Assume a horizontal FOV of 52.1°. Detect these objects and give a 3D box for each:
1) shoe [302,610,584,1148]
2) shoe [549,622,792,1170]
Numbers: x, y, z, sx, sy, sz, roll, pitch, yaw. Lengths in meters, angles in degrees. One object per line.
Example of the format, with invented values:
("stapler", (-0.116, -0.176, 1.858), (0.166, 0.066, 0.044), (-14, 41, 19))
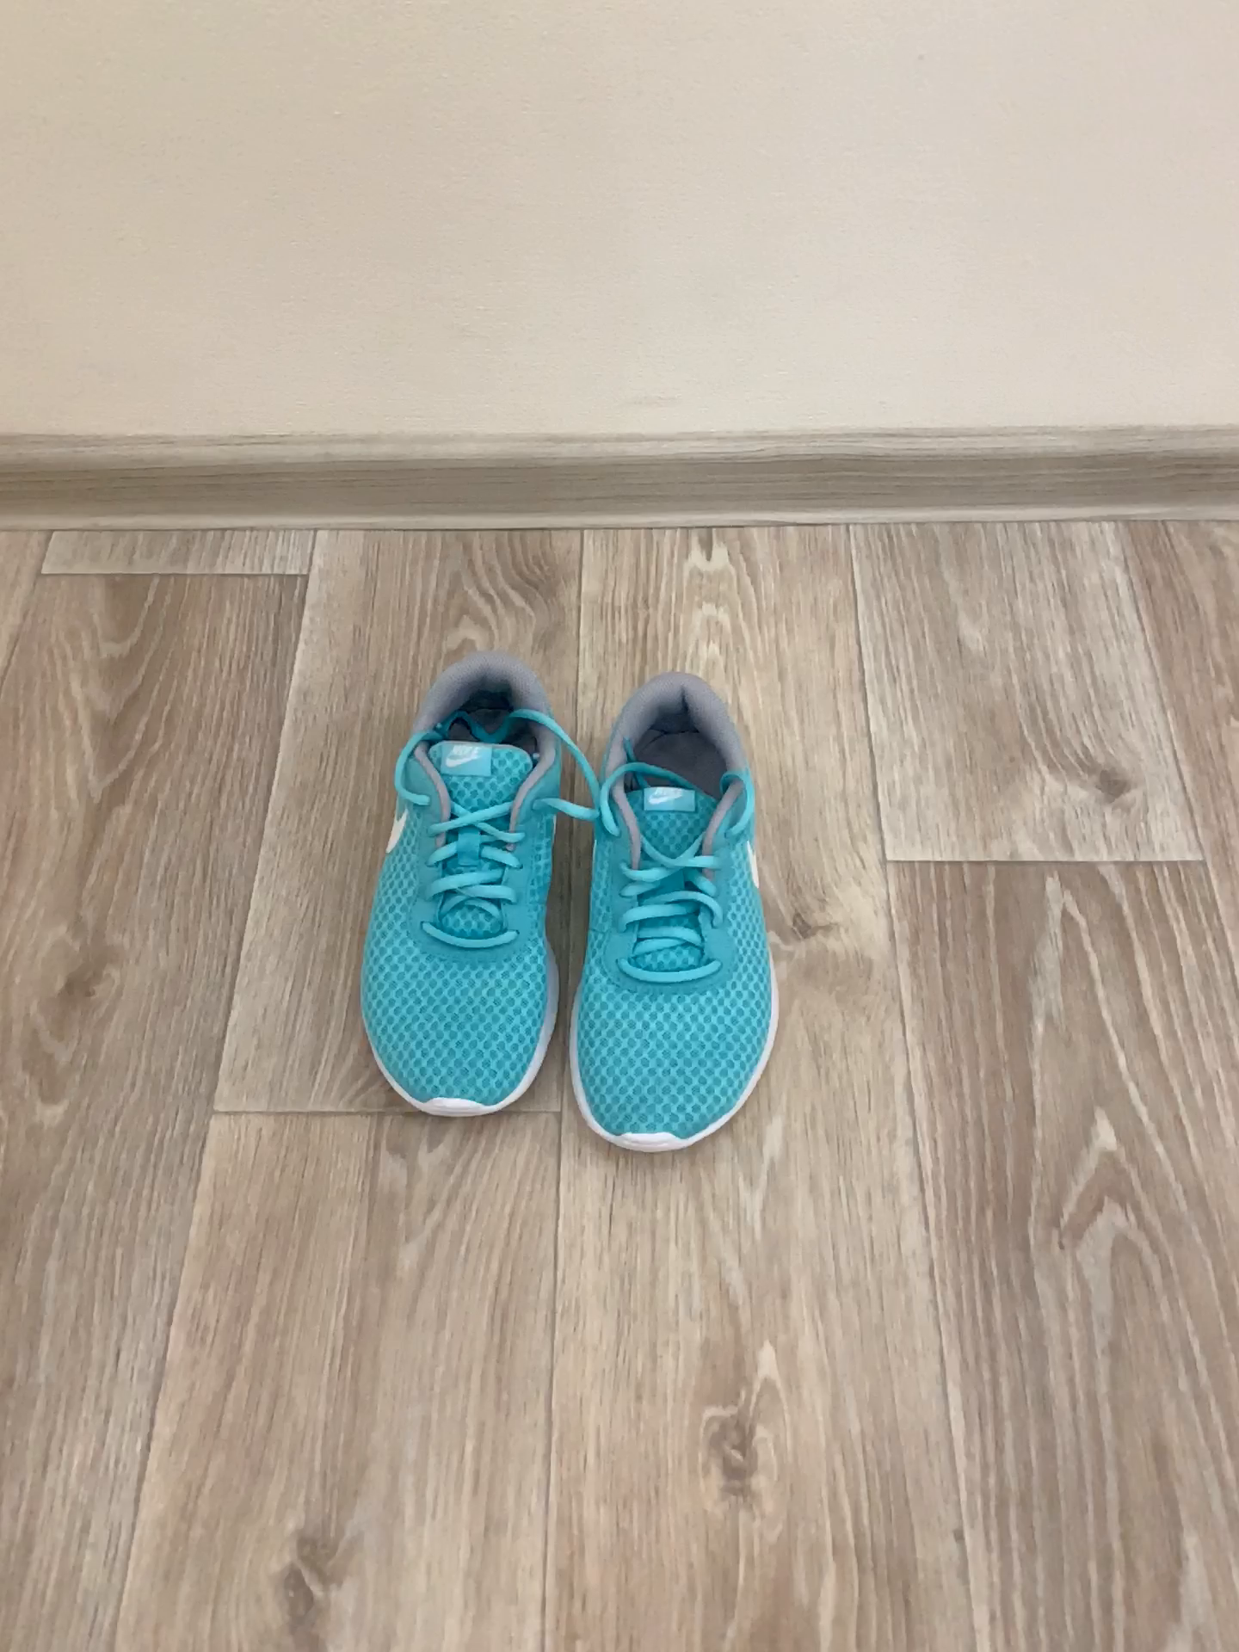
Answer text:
("shoe", (-0.076, 0.020, 0.624), (0.101, 0.090, 0.251), (1, 59, 2))
("shoe", (0.025, 0.028, 0.615), (0.098, 0.090, 0.251), (1, 59, 2))
